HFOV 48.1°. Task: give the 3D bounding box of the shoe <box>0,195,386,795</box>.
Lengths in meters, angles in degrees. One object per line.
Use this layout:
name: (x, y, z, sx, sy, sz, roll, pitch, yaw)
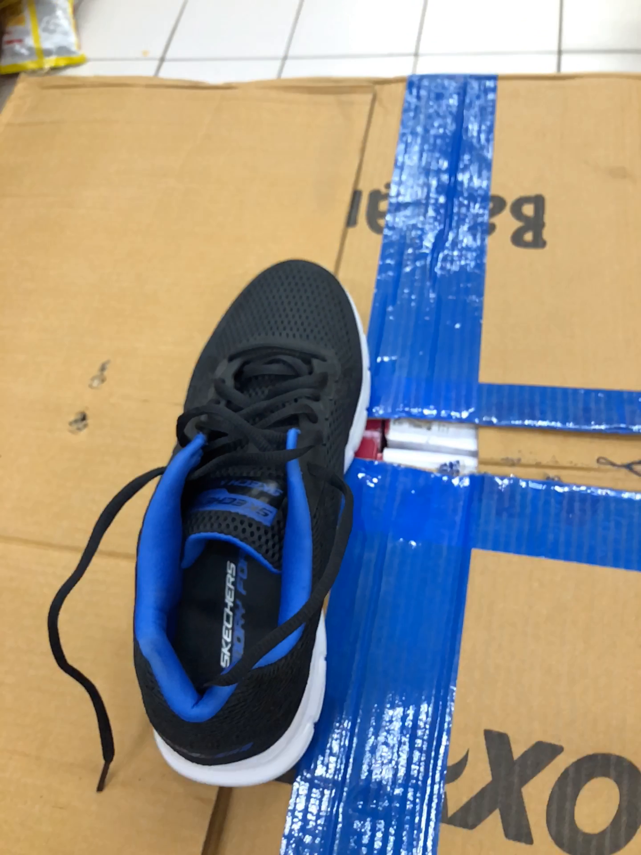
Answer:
shoe: (-0.037, 0.028, 0.369, 0.110, 0.130, 0.271, 3, 62, 10)
